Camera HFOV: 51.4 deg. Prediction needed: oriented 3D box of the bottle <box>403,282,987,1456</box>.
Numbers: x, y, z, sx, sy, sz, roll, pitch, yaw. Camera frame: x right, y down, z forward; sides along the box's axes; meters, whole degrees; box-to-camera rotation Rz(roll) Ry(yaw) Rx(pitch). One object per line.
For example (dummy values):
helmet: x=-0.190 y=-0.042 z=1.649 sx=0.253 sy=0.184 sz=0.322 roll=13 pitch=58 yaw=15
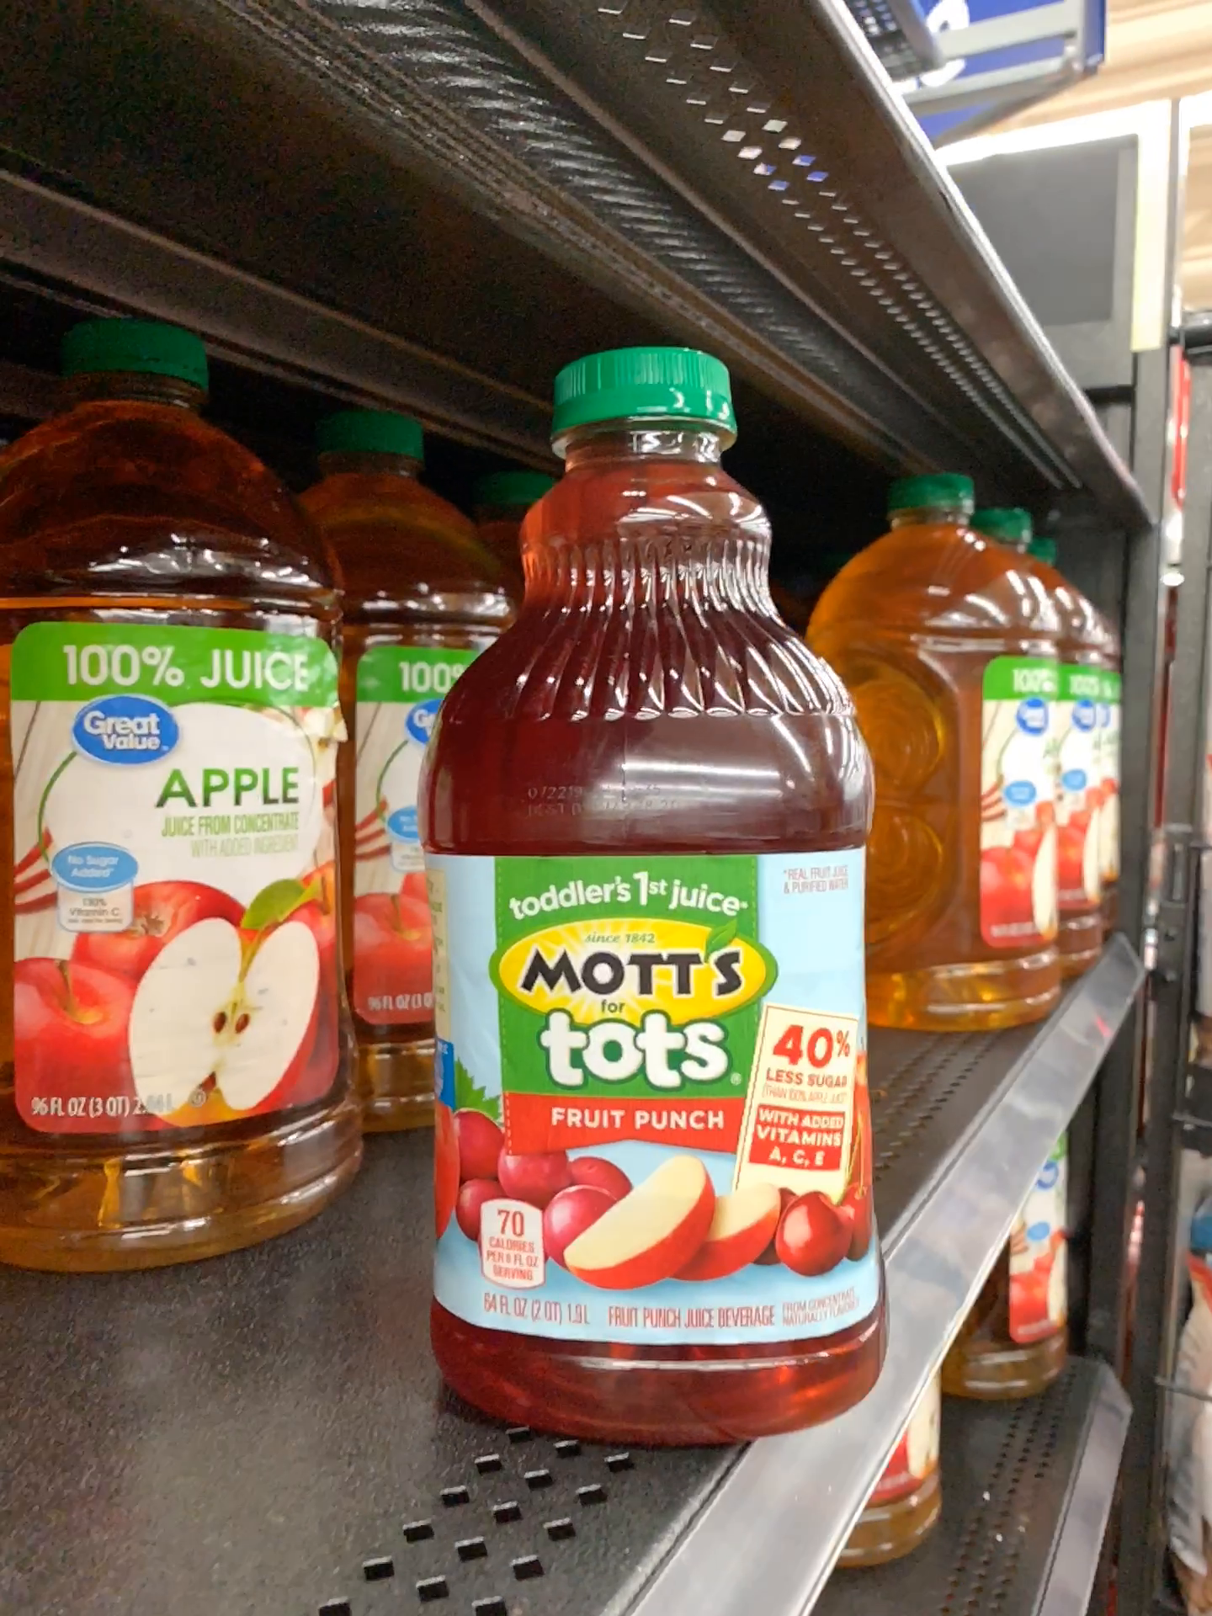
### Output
bottle: x=0.016 y=0.013 z=0.323 sx=0.120 sy=0.250 sz=0.110 roll=1 pitch=4 yaw=0
